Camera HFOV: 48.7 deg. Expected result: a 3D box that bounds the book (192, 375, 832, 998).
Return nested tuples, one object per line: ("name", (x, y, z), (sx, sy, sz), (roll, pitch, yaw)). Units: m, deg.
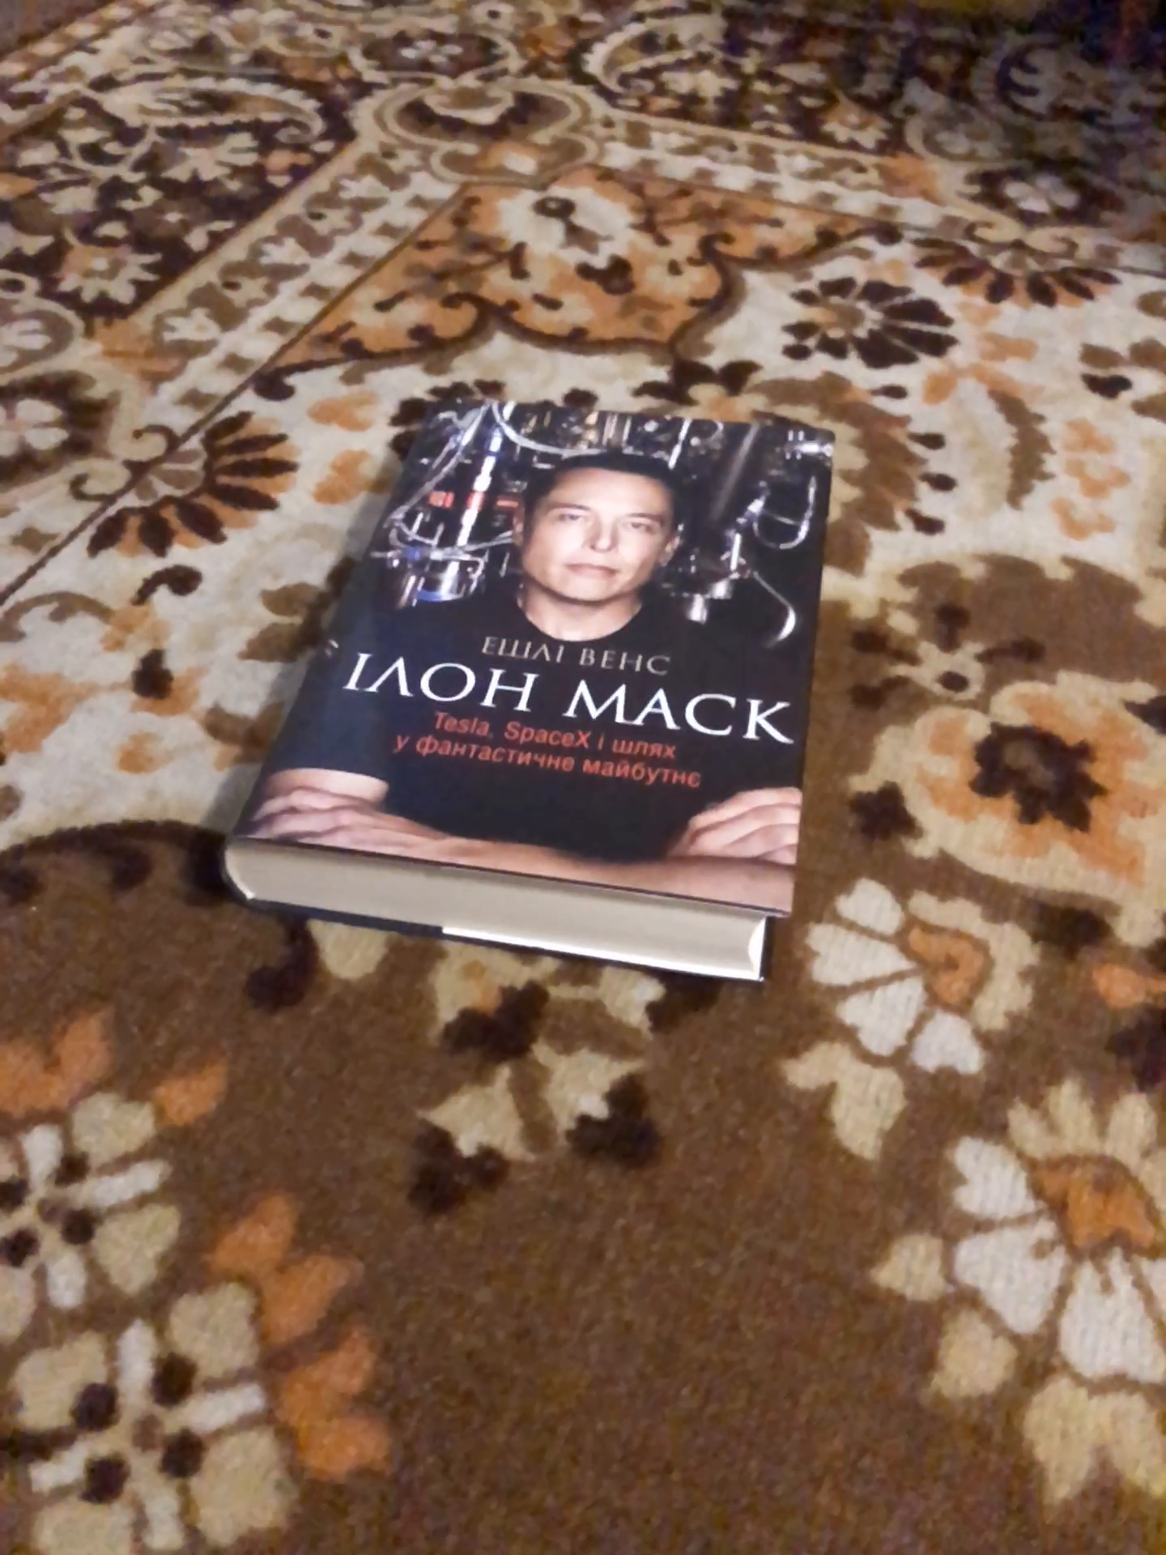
("book", (-0.008, -0.051, 0.482), (0.184, 0.050, 0.252), (7, 50, 6))
